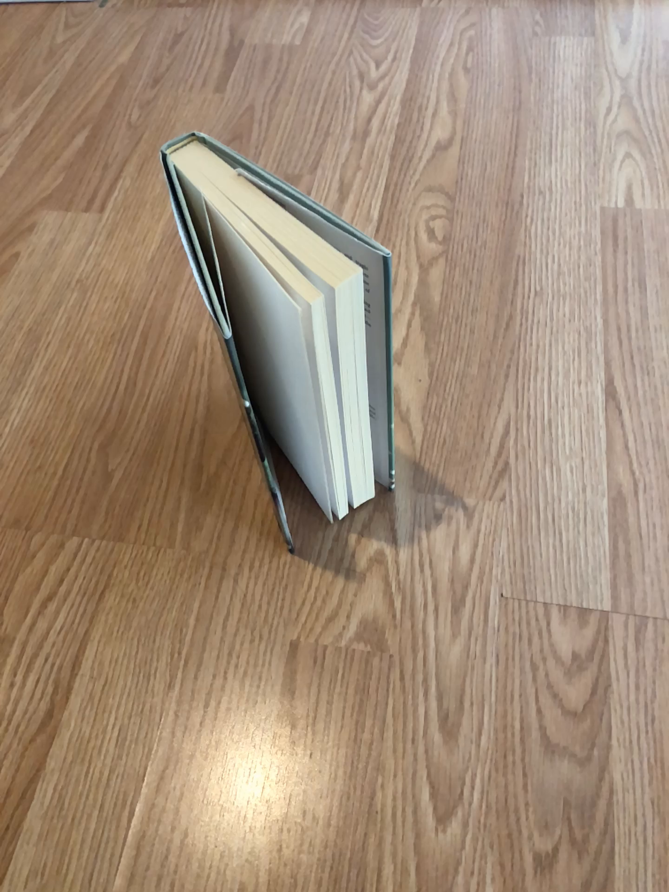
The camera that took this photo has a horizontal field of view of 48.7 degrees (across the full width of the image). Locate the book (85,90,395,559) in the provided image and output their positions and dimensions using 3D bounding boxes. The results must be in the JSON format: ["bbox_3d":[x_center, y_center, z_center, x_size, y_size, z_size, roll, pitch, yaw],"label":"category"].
[{"bbox_3d":[-0.042,-0.056,0.433,0.080,0.220,0.150,-29,60,-12],"label":"book"}]
